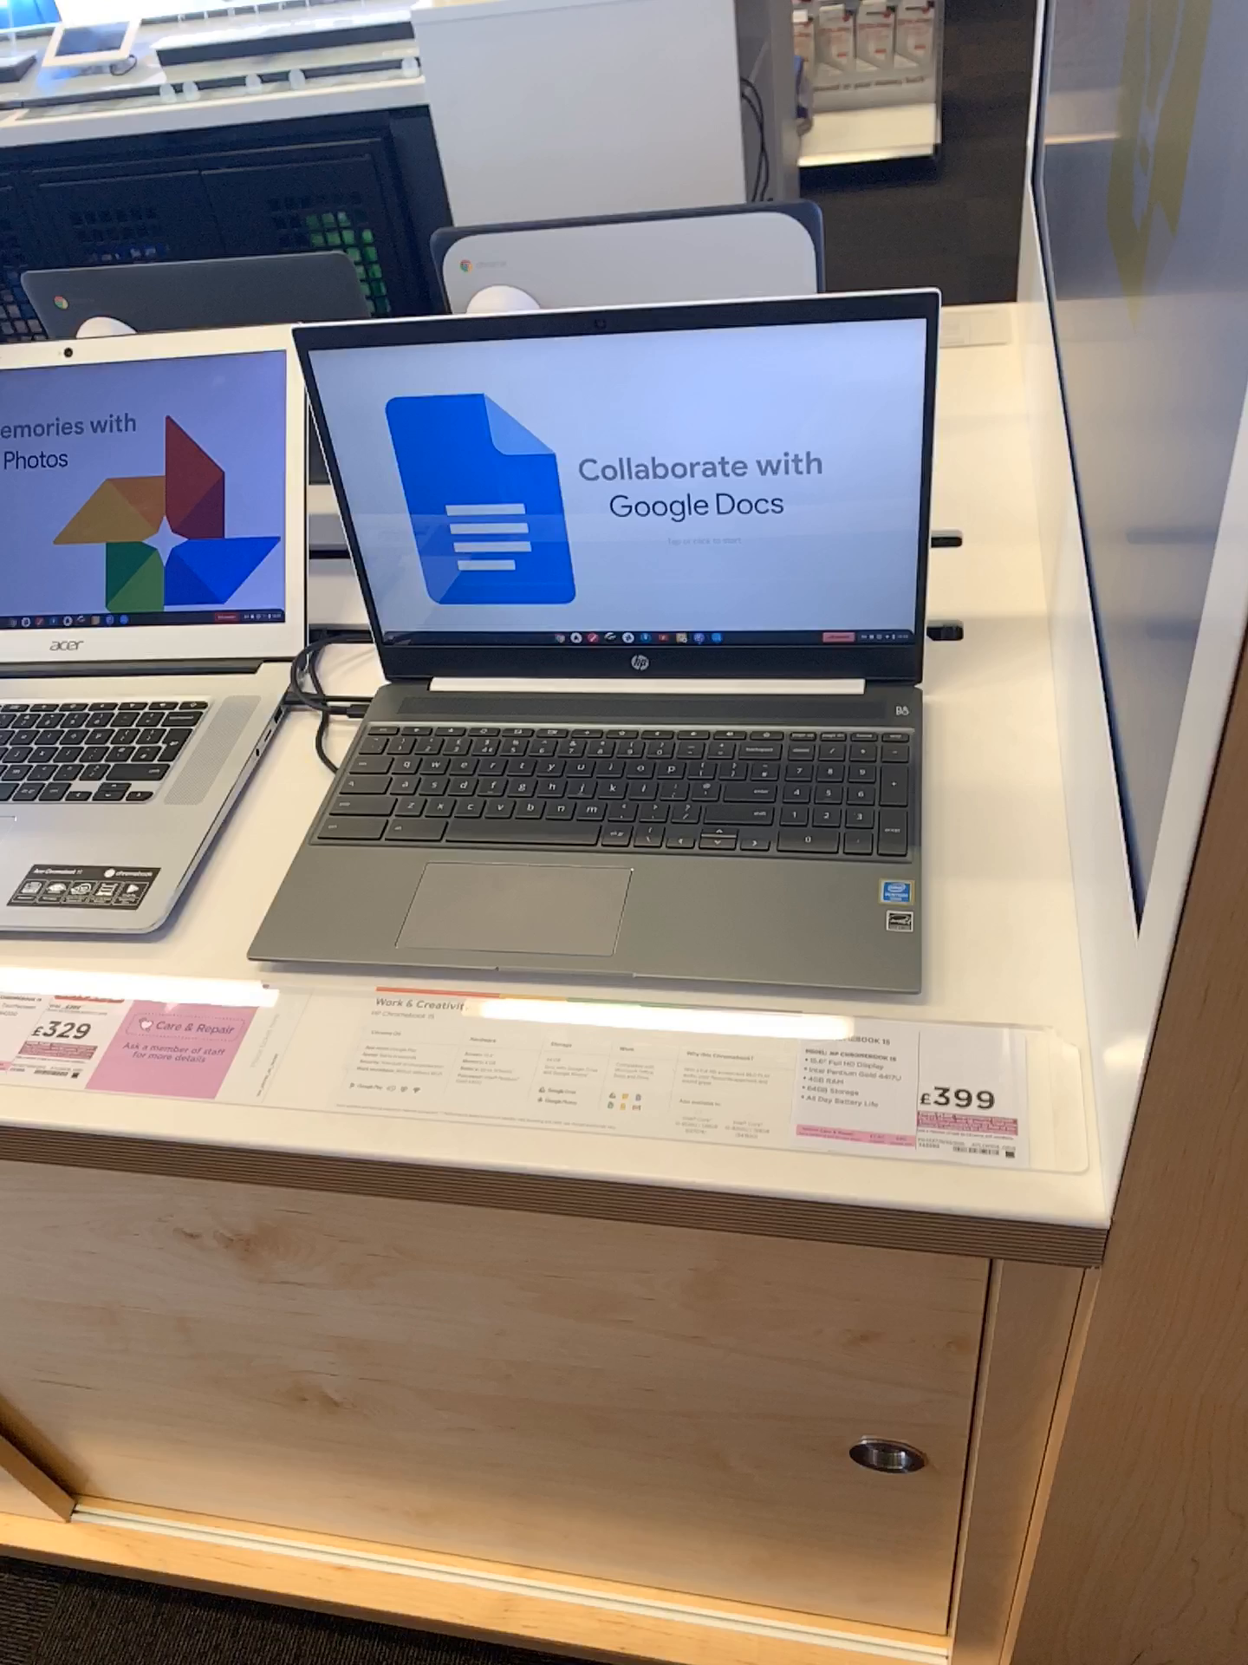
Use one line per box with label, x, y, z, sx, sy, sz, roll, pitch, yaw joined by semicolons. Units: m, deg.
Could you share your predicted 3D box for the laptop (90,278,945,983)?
laptop;-0.019;-0.109;0.672;0.351;0.228;0.265;1;44;12
